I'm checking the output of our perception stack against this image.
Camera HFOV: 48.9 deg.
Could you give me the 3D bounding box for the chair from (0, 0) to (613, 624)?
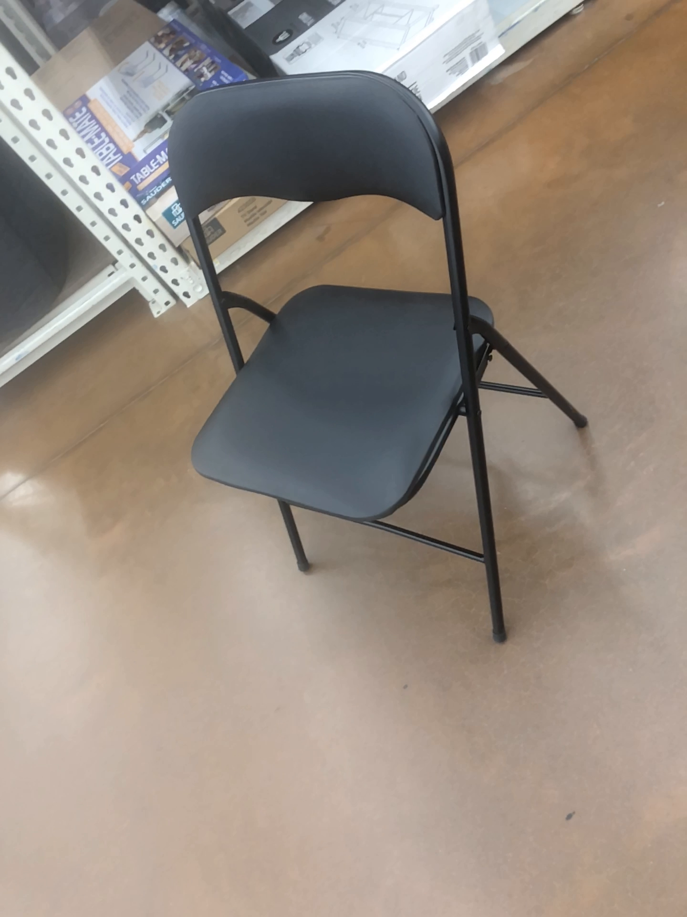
[{"bbox_3d":[0.012,-0.179,1.123,0.522,0.757,0.490,10,66,34],"label":"chair"}]
